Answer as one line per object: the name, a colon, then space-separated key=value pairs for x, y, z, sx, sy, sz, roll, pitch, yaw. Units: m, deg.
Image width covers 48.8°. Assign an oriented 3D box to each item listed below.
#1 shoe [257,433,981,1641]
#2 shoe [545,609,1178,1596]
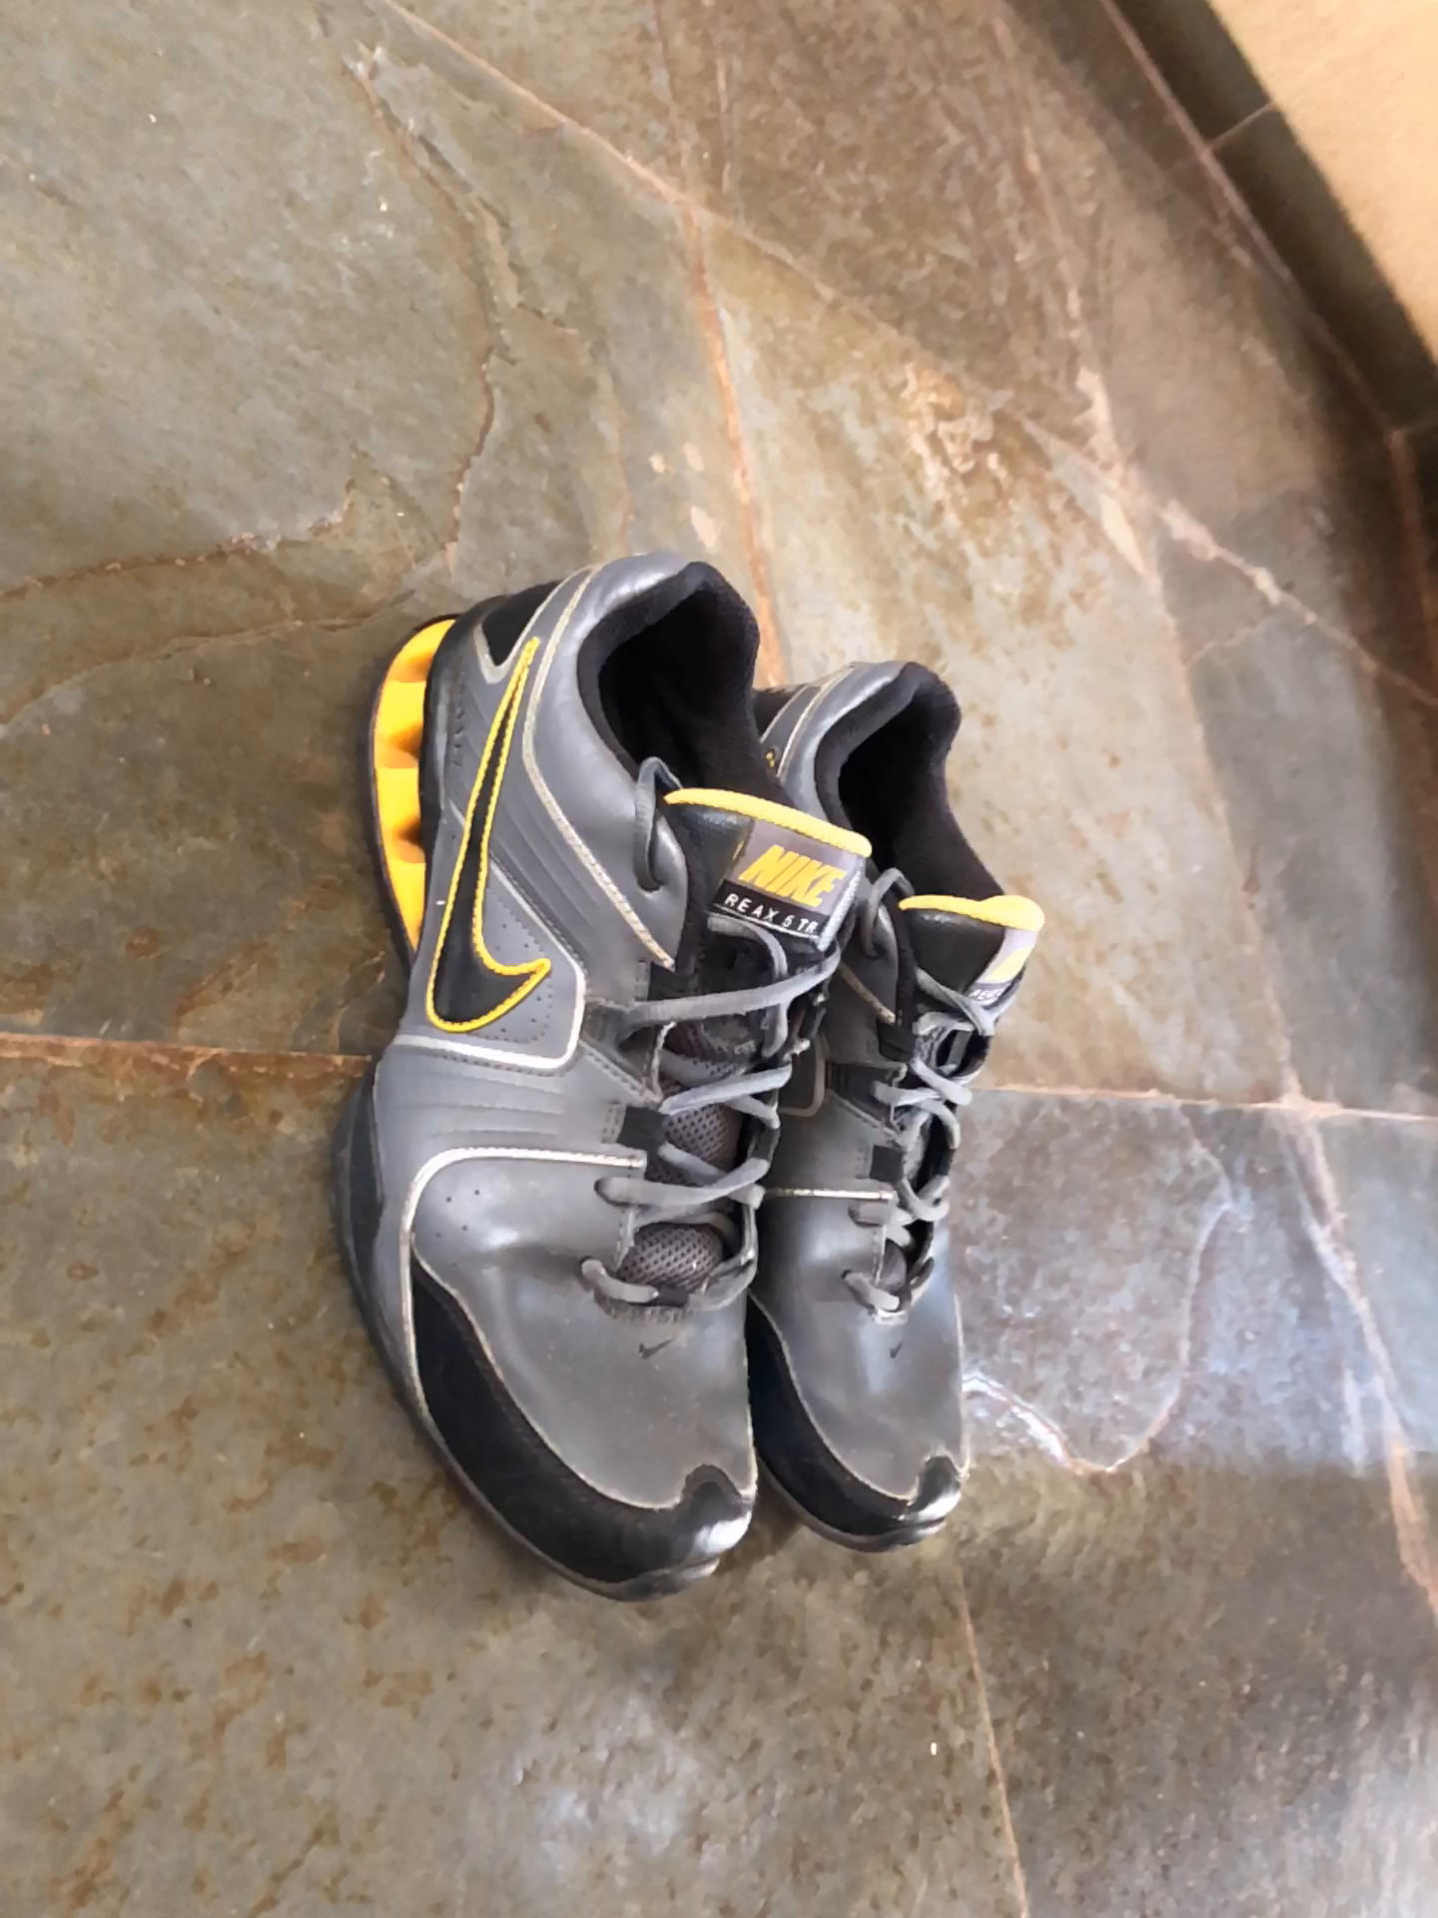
shoe: x=-0.030 y=0.020 z=0.375 sx=0.101 sy=0.099 sz=0.240 roll=11 pitch=64 yaw=-47
shoe: x=0.035 y=0.042 z=0.452 sx=0.101 sy=0.099 sz=0.240 roll=11 pitch=64 yaw=-47
